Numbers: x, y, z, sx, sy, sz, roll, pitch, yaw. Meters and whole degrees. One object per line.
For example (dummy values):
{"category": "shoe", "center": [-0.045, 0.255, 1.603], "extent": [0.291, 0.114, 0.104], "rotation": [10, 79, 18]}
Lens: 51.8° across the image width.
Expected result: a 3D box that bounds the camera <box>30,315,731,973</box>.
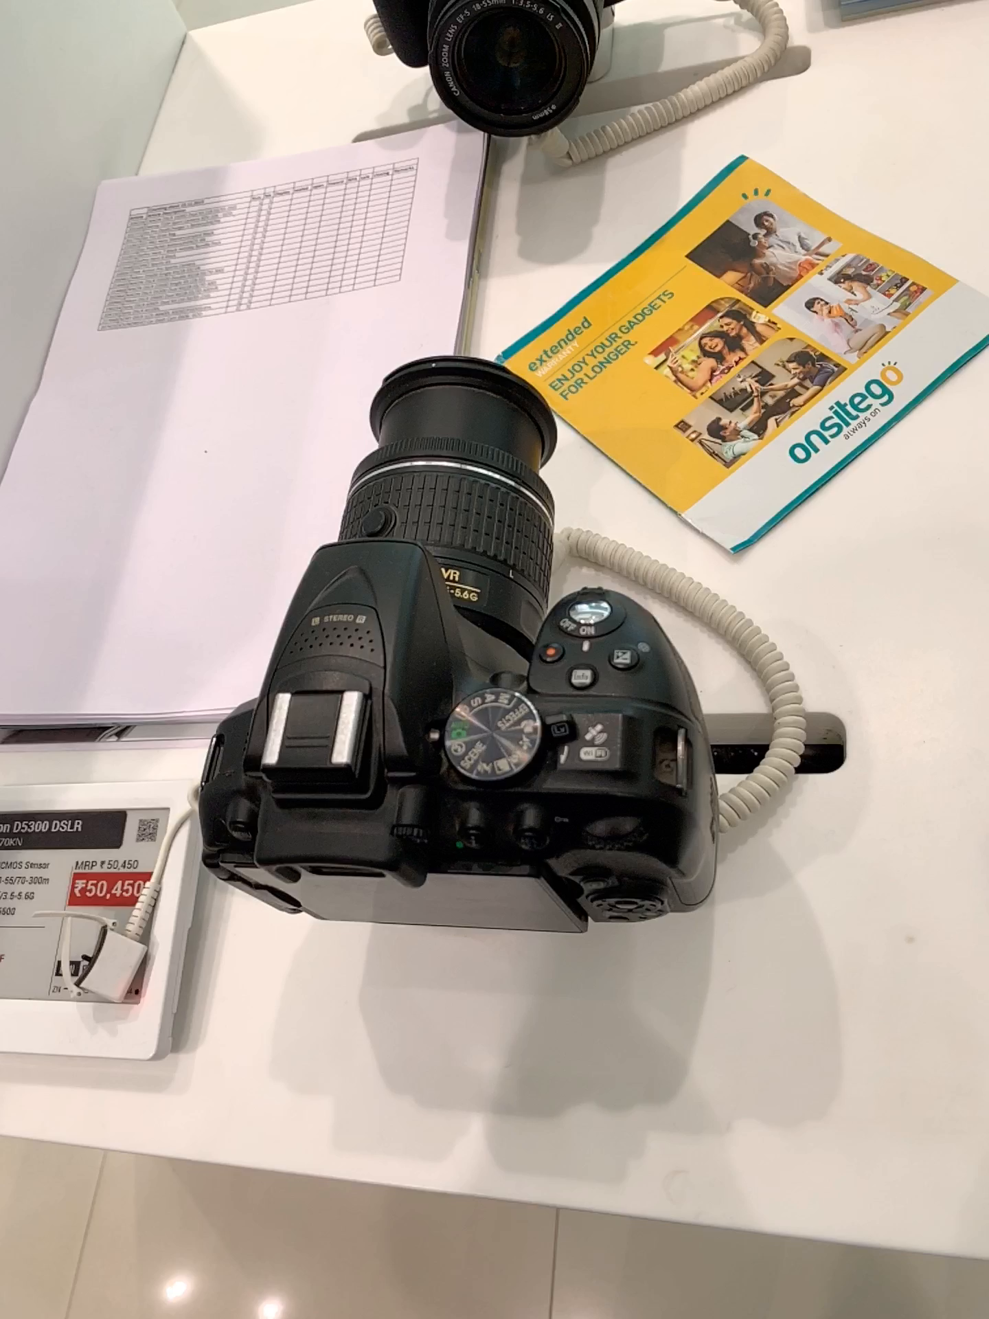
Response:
{"category": "camera", "center": [-0.010, 0.004, 0.236], "extent": [0.118, 0.100, 0.107], "rotation": [-1, 63, 17]}
